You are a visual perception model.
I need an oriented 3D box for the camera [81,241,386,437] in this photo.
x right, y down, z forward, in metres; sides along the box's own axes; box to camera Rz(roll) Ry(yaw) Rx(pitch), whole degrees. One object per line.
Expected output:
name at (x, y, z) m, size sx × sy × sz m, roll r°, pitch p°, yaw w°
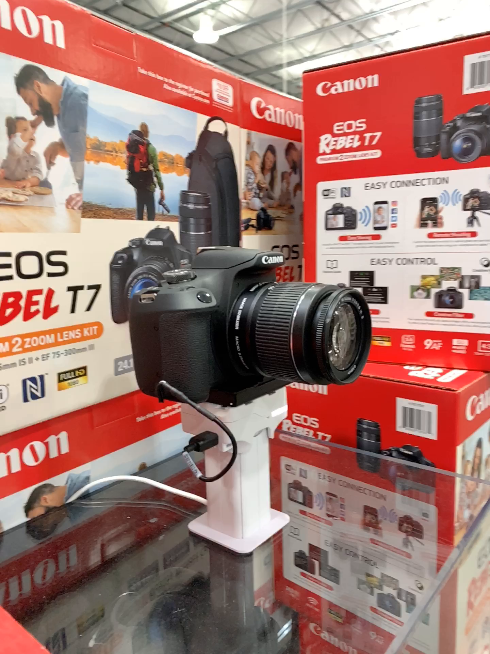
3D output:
camera at (-0.007, -0.009, 0.358) m, size 0.160 × 0.100 × 0.140 m, roll 7°, pitch 12°, yaw 39°
